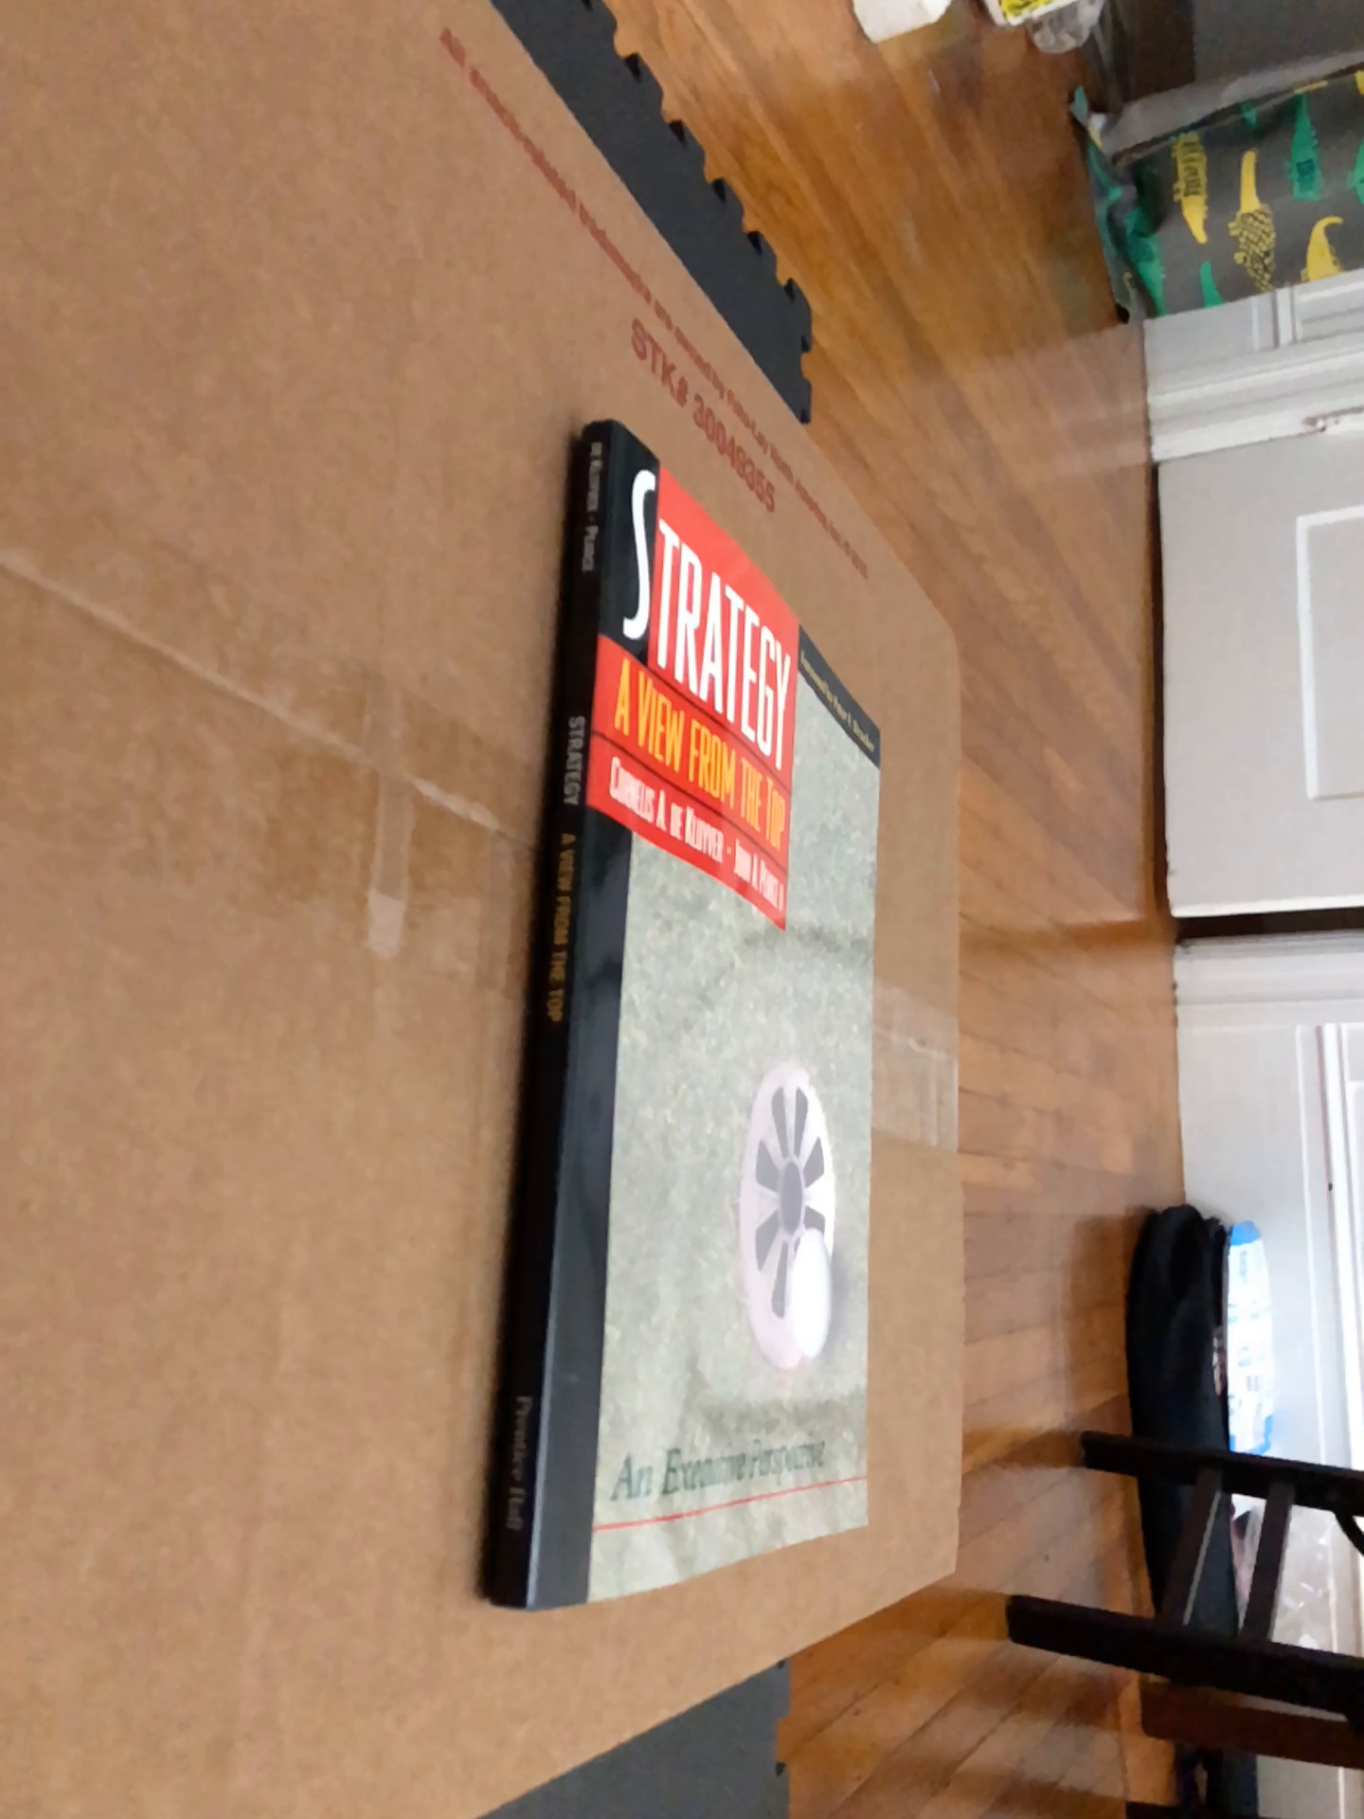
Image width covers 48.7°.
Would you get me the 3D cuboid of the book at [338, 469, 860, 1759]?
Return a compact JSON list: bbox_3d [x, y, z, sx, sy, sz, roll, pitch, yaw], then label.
[{"bbox_3d":[0.000,0.050,0.357,0.181,0.020,0.240,36,53,-57],"label":"book"}]
